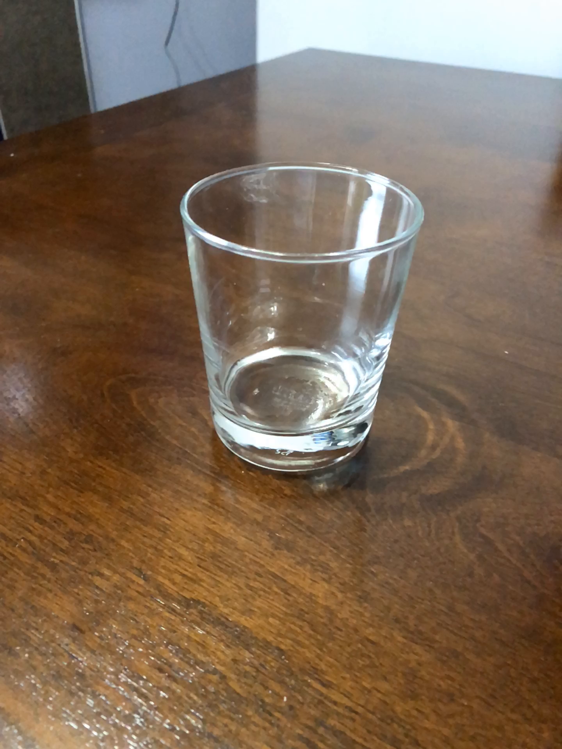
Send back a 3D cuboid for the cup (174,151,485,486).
[{"bbox_3d":[0.008,-0.026,0.242,0.090,0.090,0.090,1,36,-1],"label":"cup"}]
